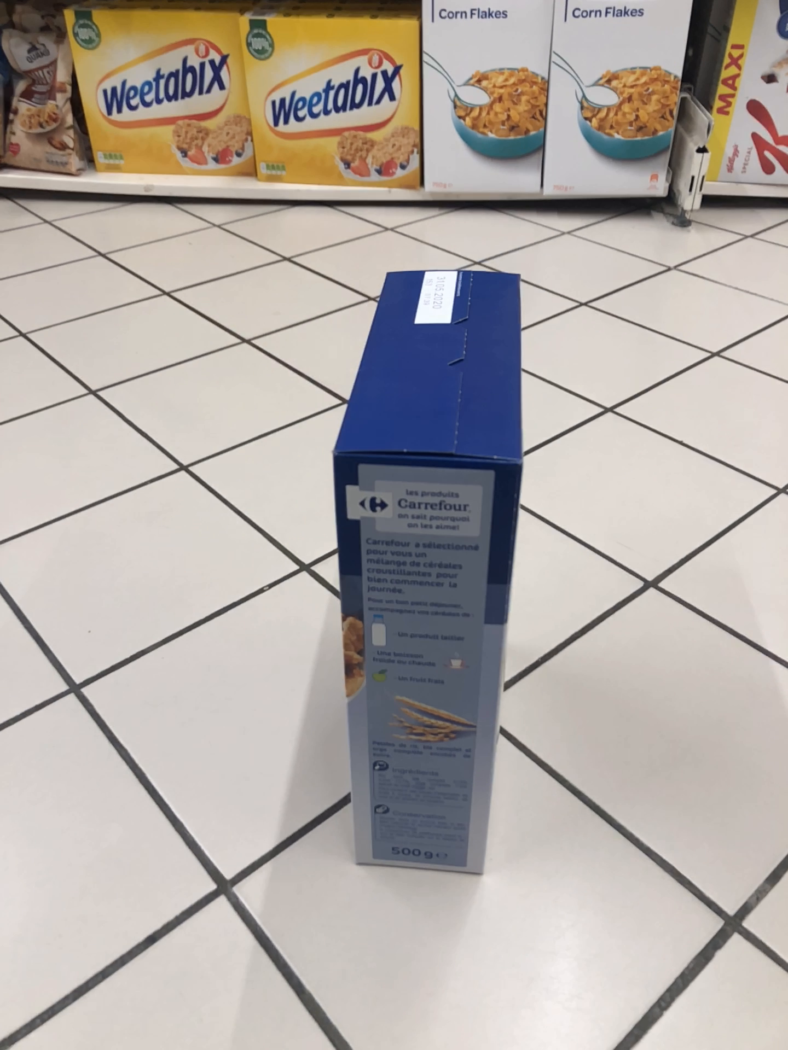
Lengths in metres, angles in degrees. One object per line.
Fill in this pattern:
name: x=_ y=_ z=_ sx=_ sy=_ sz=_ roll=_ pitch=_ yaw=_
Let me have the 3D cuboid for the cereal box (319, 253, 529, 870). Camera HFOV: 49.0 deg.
cereal box: x=0.017 y=0.020 z=0.496 sx=0.080 sy=0.278 sz=0.211 roll=3 pitch=37 yaw=3
